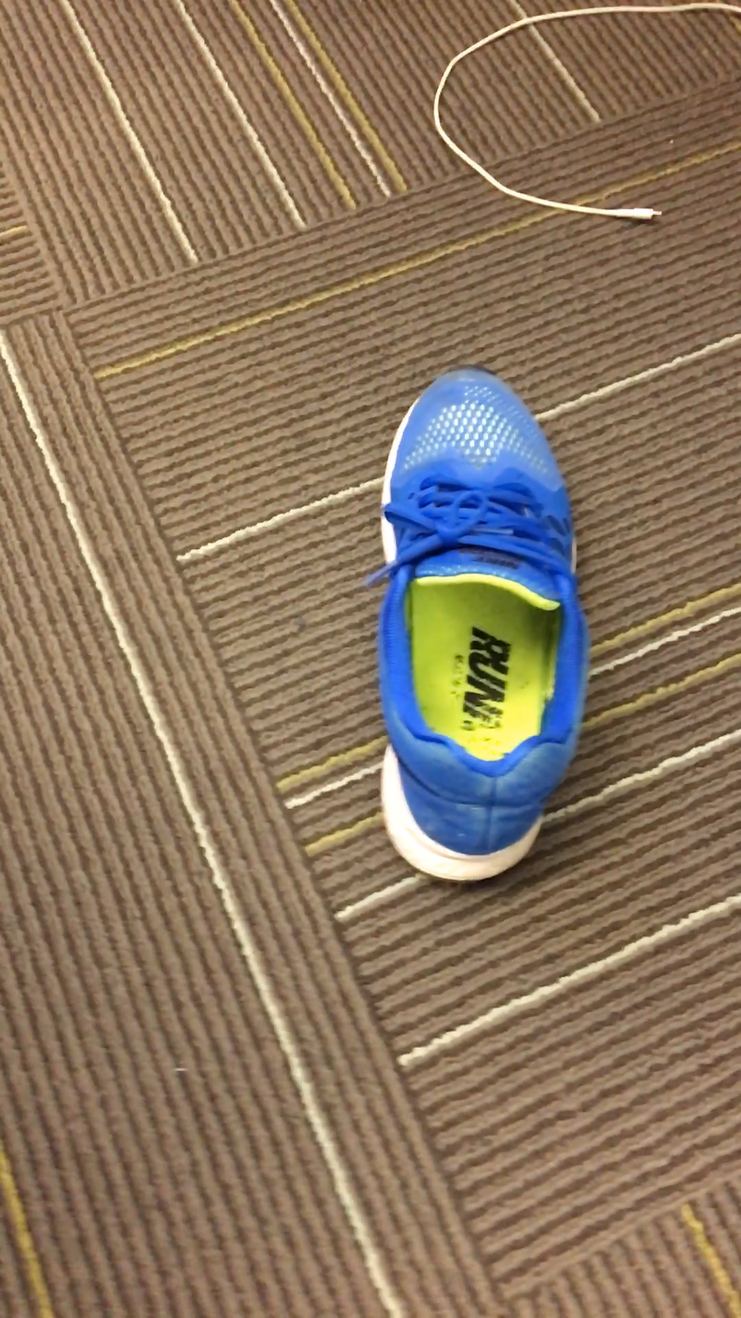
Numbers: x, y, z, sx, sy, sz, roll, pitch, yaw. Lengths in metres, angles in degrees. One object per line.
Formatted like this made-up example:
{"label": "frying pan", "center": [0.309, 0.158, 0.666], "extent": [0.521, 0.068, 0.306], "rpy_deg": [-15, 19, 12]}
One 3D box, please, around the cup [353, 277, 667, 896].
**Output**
{"label": "cup", "center": [0.059, -0.040, 0.560], "extent": [0.130, 0.100, 0.300], "rpy_deg": [1, 67, 0]}
